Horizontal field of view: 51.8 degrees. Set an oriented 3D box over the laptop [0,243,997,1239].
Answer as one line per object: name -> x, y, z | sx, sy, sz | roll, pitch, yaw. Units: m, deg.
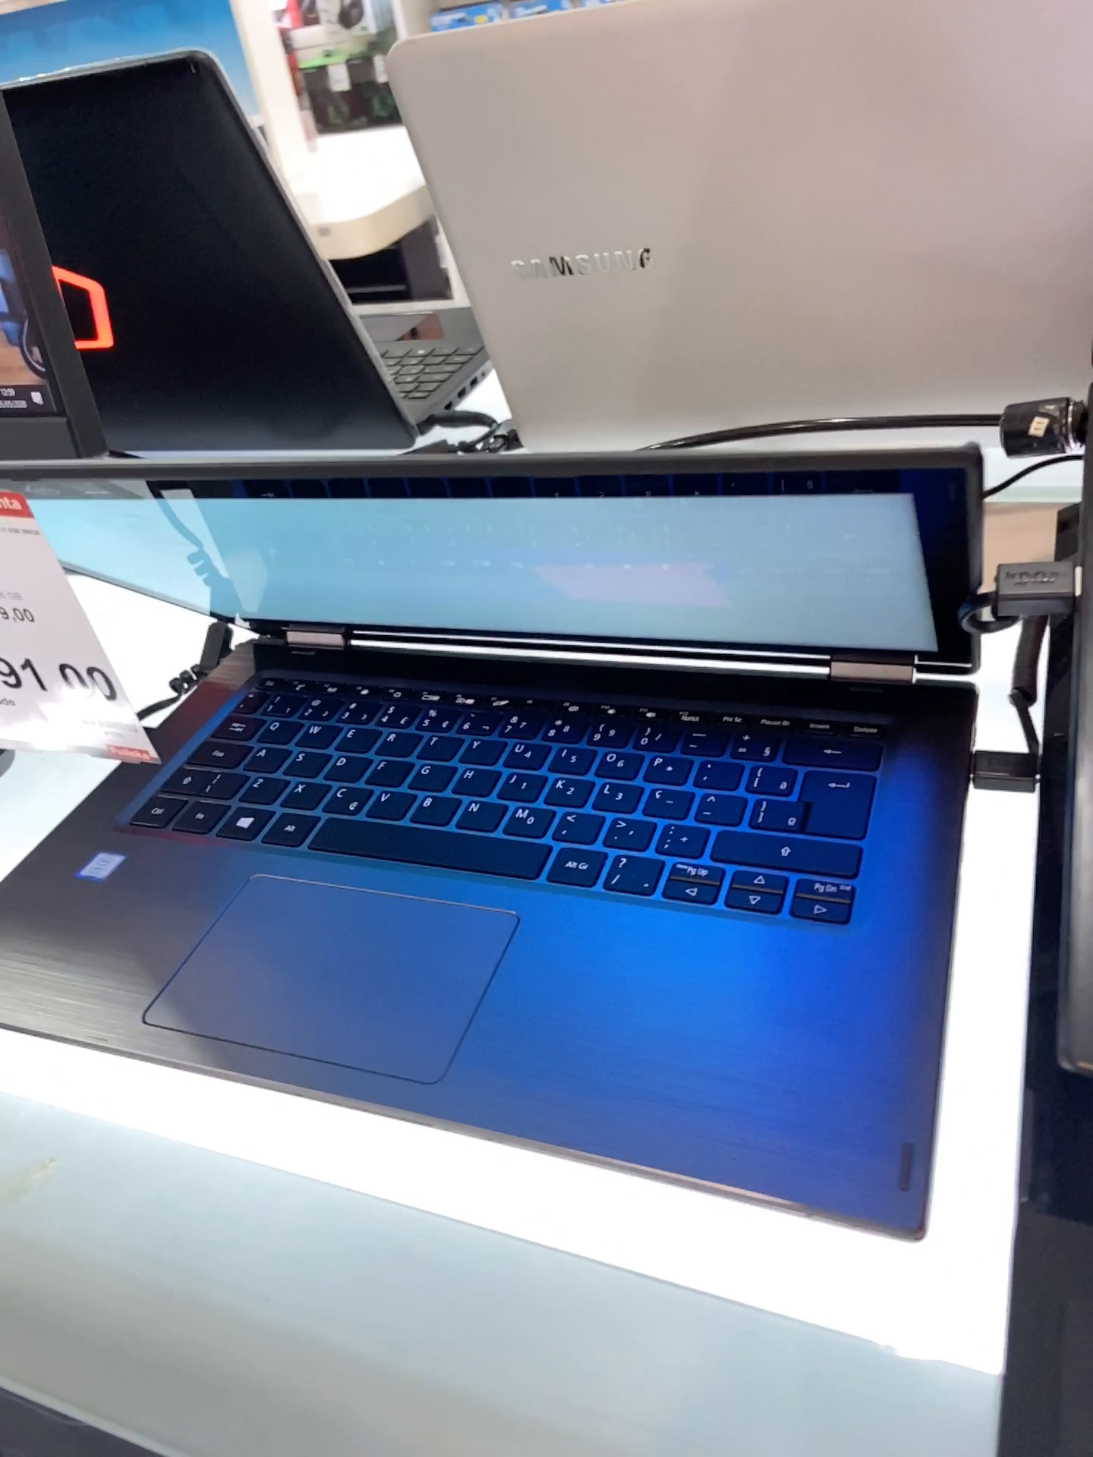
laptop -> -0.044, -0.025, 0.352 | 0.328, 0.154, 0.220 | 5, 39, 22
